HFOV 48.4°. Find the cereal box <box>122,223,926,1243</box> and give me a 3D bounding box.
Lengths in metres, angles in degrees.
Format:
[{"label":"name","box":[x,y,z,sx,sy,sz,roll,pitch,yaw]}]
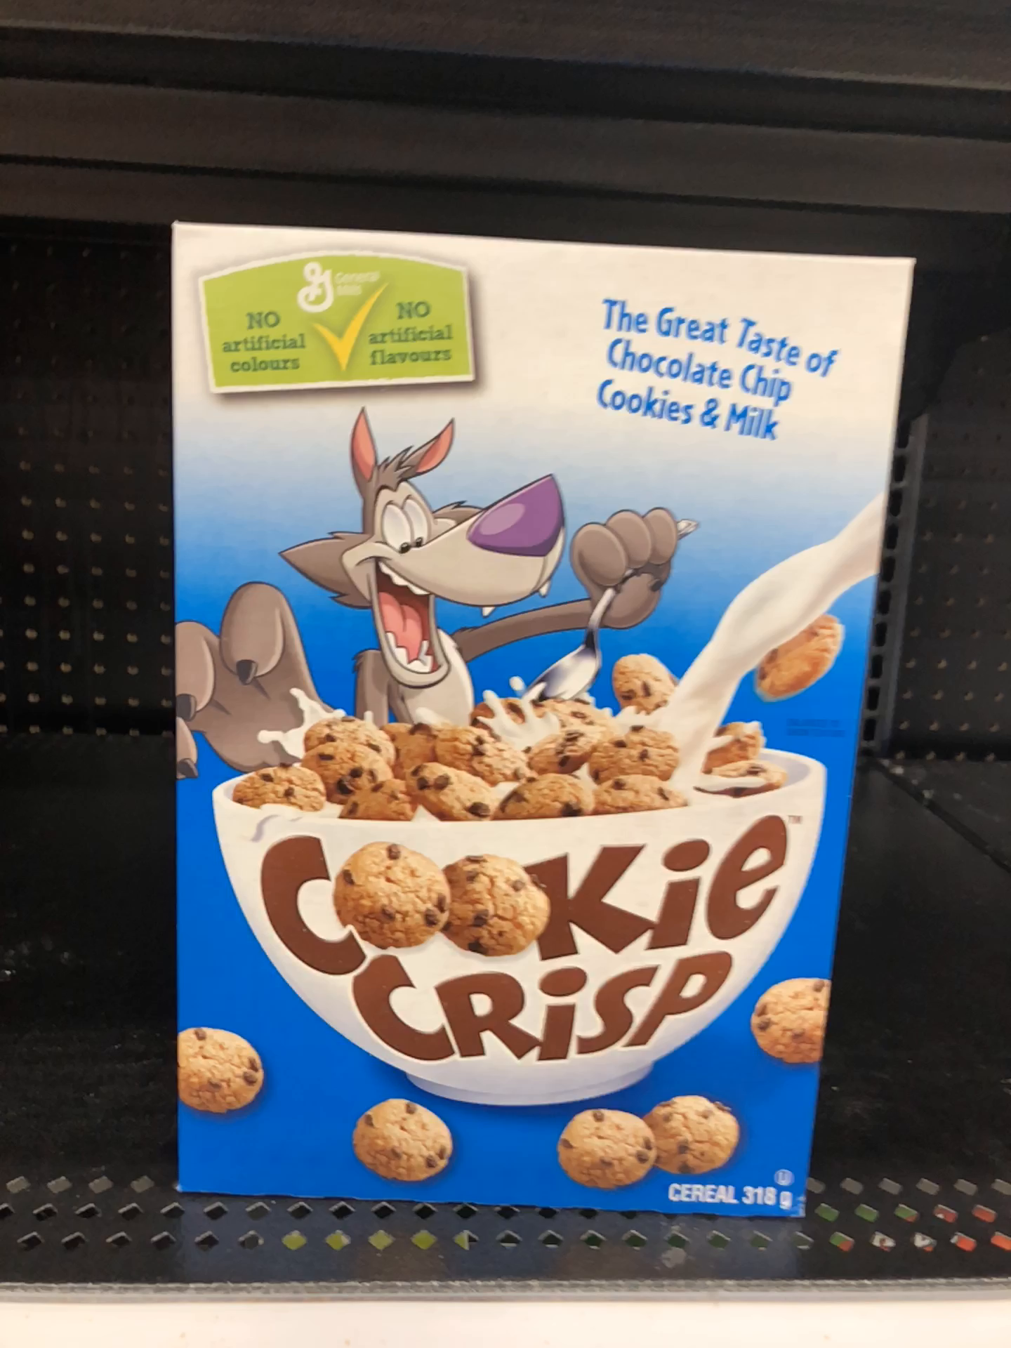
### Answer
[{"label":"cereal box","box":[-0.001,0.022,0.337,0.200,0.279,0.060,2,11,-1]}]
